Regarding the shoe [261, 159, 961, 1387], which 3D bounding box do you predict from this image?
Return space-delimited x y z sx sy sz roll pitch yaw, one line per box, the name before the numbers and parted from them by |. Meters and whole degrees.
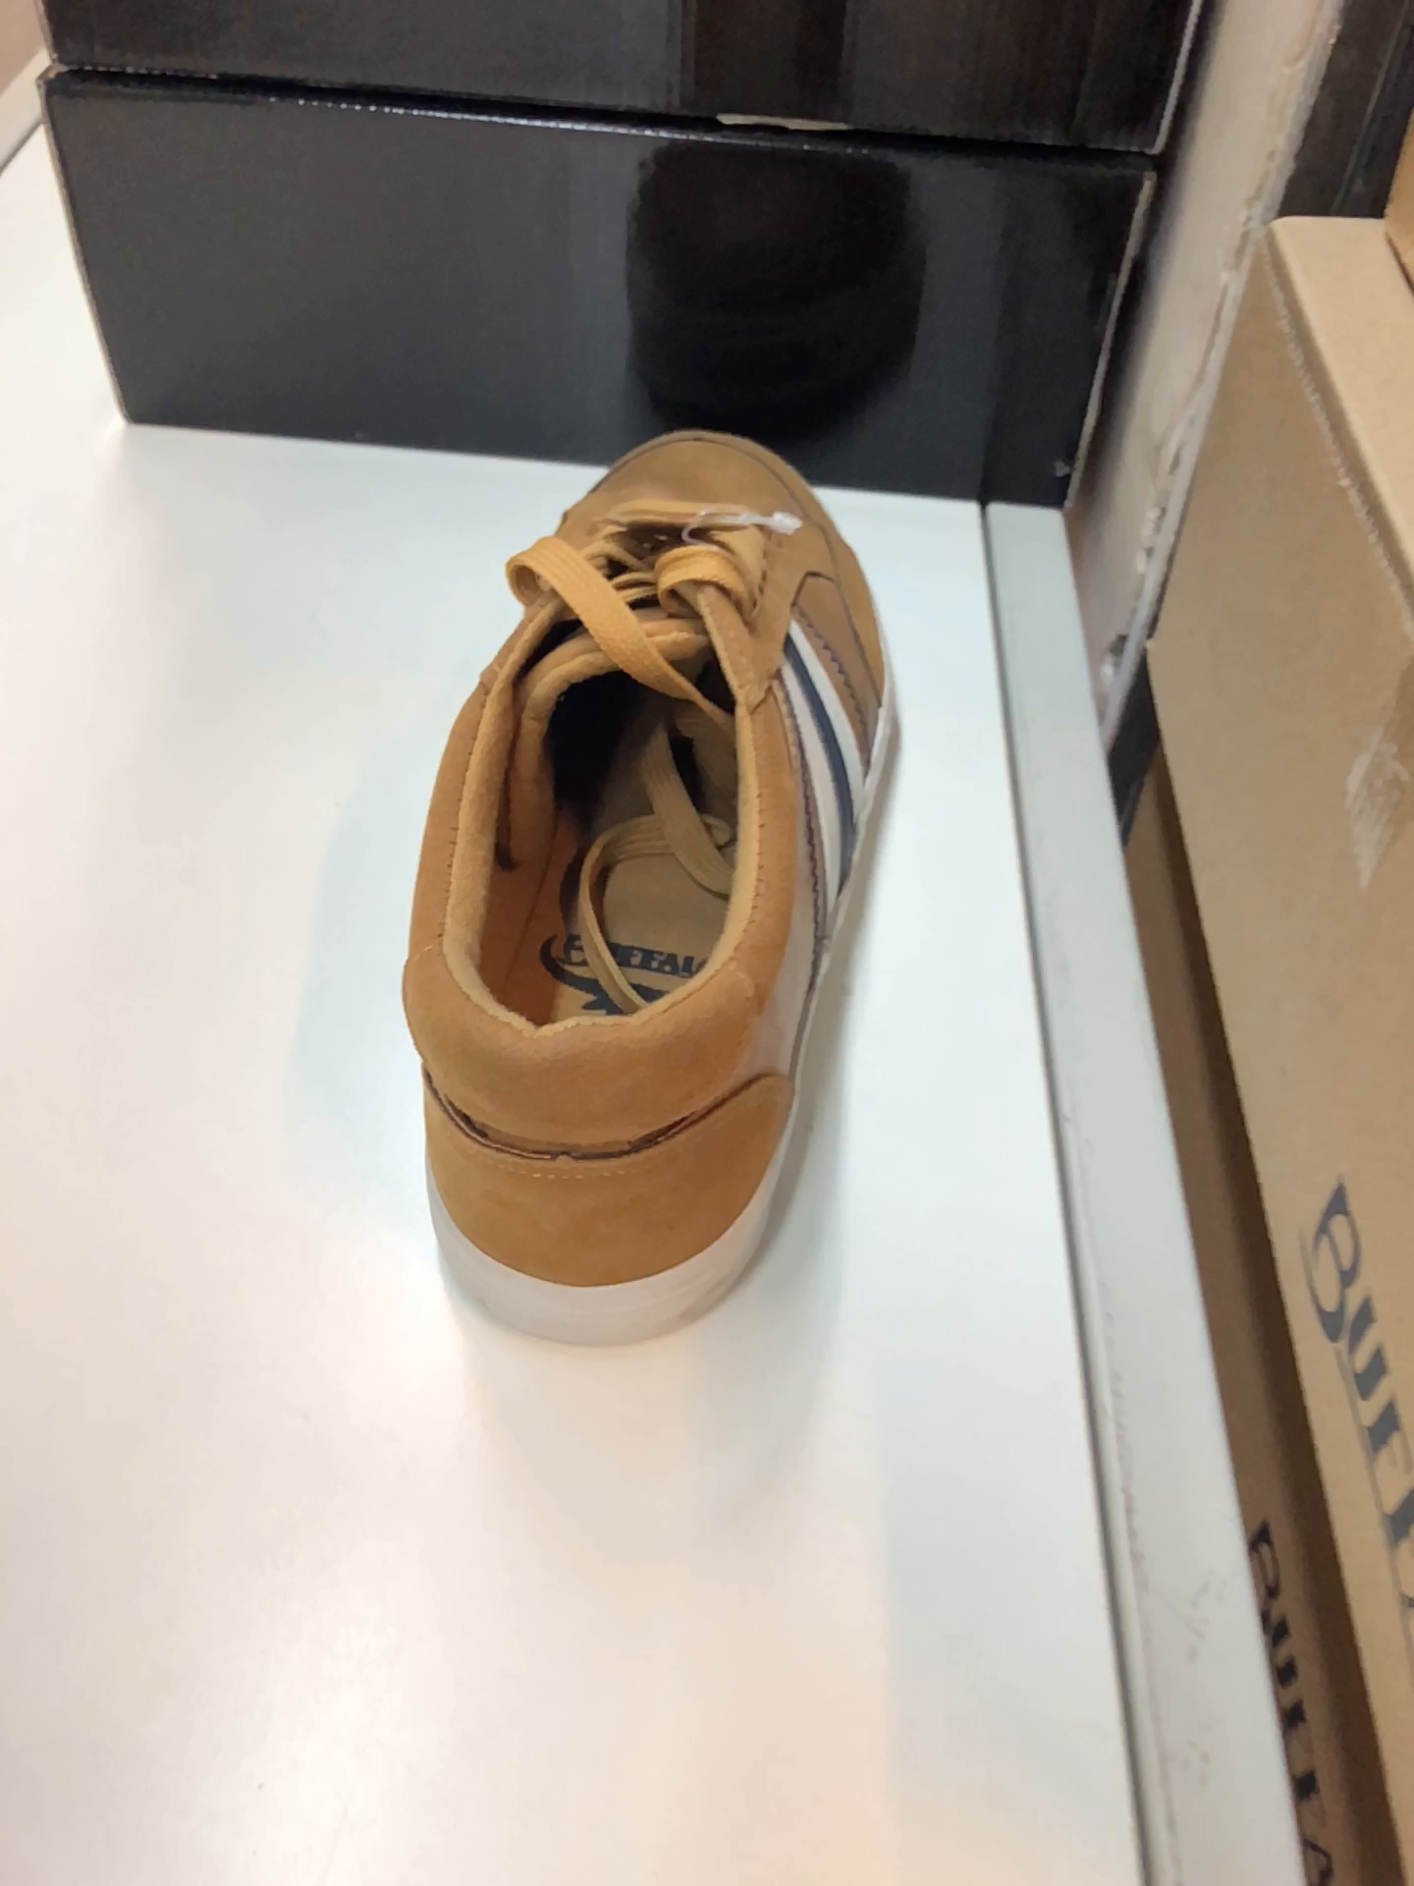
shoe | -0.003 -0.063 0.368 0.105 0.104 0.296 5 49 2
